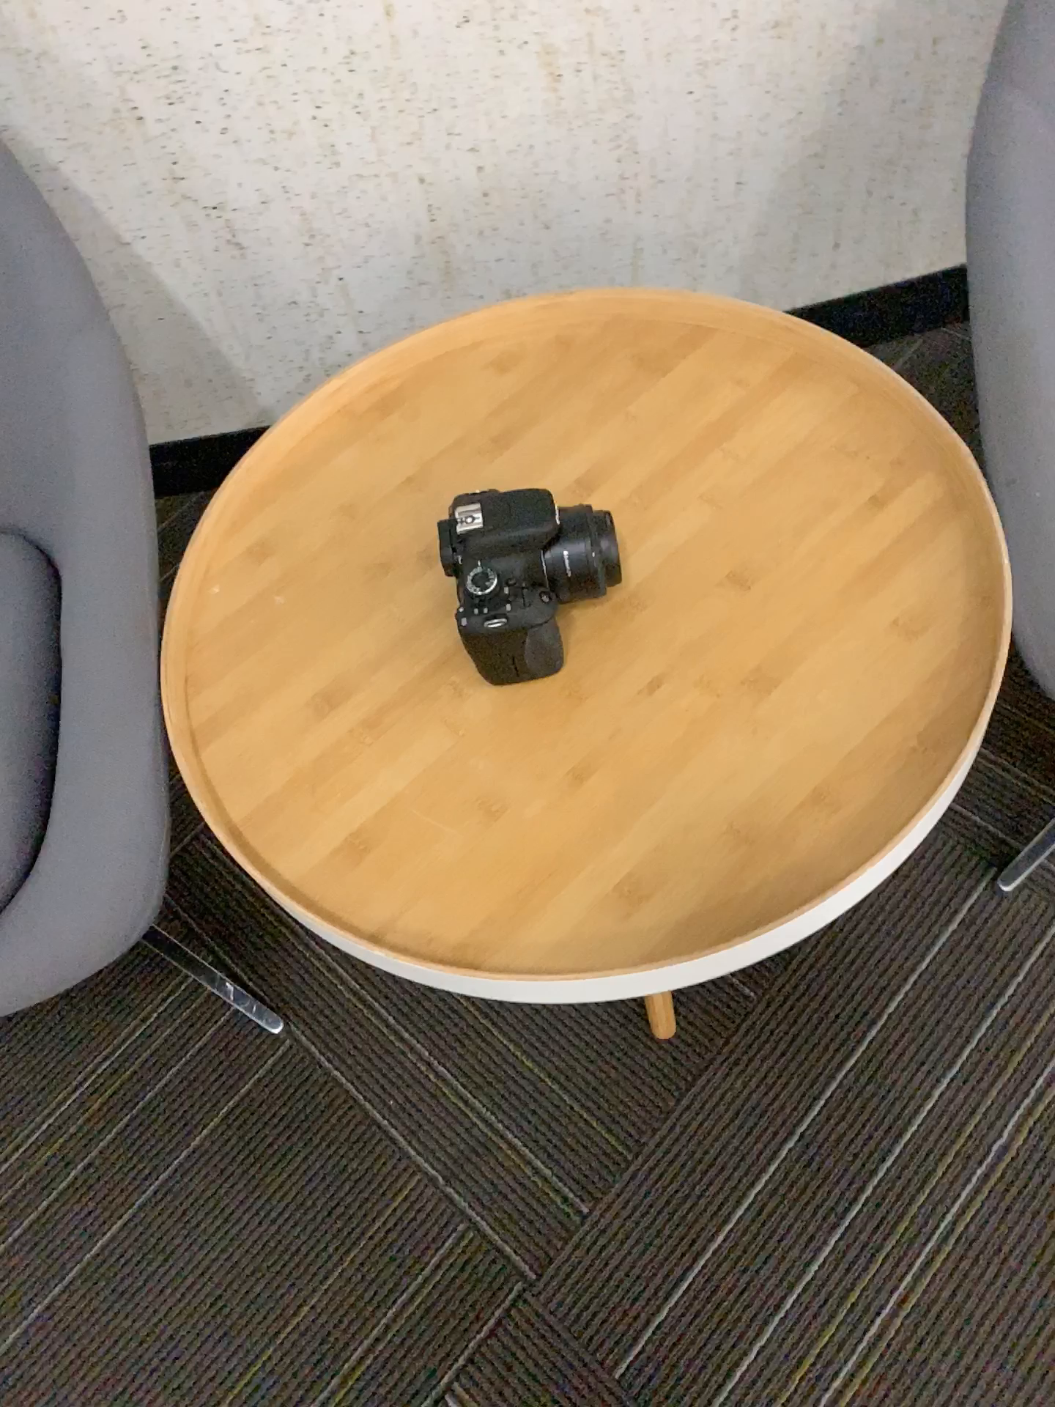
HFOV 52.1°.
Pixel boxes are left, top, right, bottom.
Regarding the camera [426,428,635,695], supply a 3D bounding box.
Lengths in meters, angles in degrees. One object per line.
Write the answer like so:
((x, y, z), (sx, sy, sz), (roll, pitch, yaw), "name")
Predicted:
((0.002, -0.099, 0.761), (0.117, 0.100, 0.134), (-11, 59, 3), "camera")
